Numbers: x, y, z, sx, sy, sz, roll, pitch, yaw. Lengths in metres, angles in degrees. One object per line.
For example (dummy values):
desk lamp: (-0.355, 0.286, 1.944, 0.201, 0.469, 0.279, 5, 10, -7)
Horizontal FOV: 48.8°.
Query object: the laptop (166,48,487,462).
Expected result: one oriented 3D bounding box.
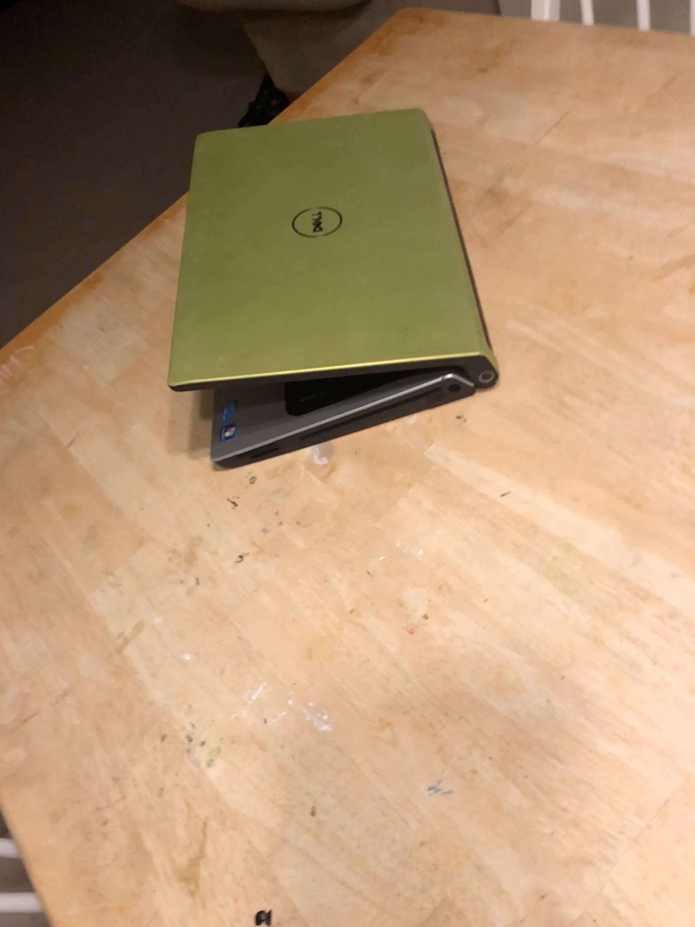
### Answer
laptop: (-0.023, -0.198, 0.673, 0.227, 0.076, 0.360, -18, 48, 17)
